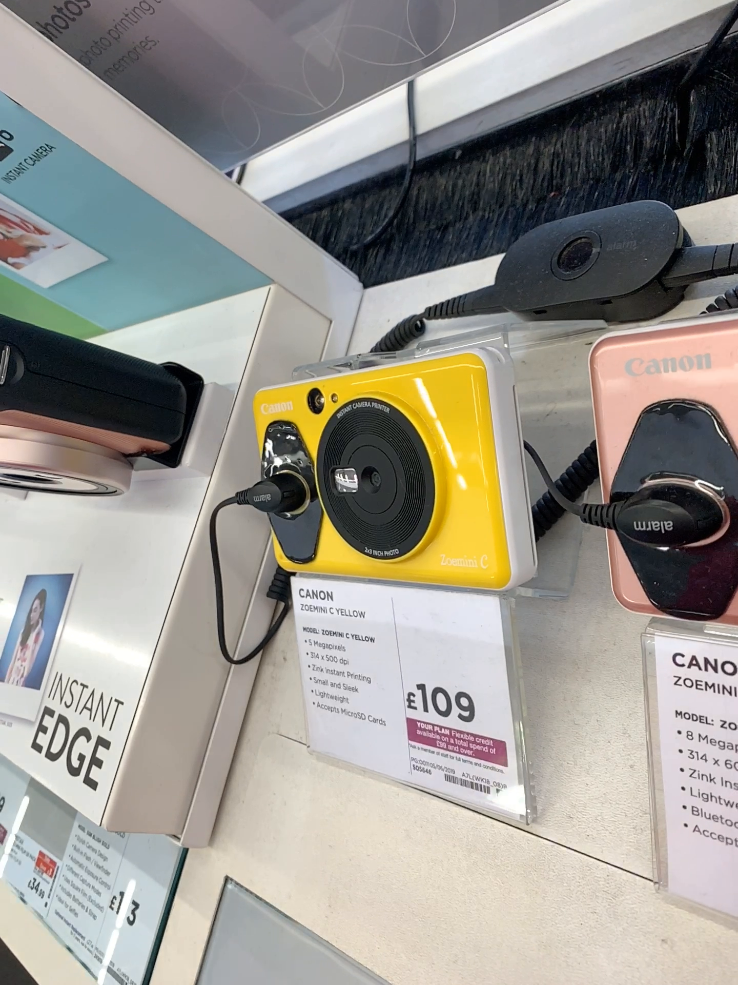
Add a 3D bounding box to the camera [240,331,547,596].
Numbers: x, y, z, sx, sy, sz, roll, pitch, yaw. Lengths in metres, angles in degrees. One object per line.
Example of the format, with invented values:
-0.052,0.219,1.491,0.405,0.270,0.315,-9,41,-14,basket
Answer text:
0.003,-0.009,0.280,0.121,0.020,0.080,-1,99,45,camera
